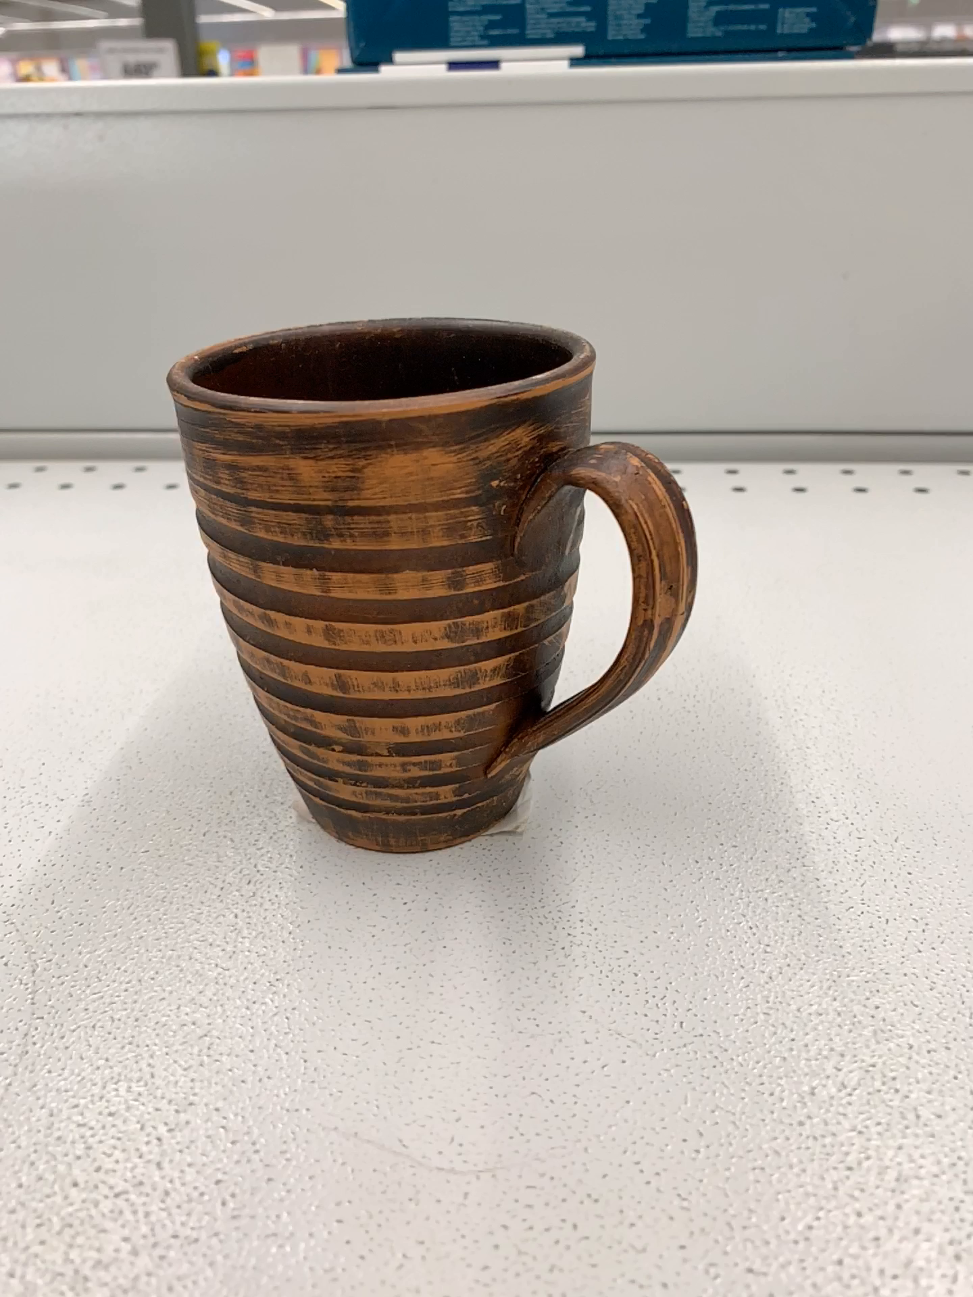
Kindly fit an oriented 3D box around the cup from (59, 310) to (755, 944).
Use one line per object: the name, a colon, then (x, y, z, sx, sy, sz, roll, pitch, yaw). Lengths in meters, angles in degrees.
cup: (-0.012, -0.016, 0.216, 0.106, 0.089, 0.084, 15, 31, 29)
